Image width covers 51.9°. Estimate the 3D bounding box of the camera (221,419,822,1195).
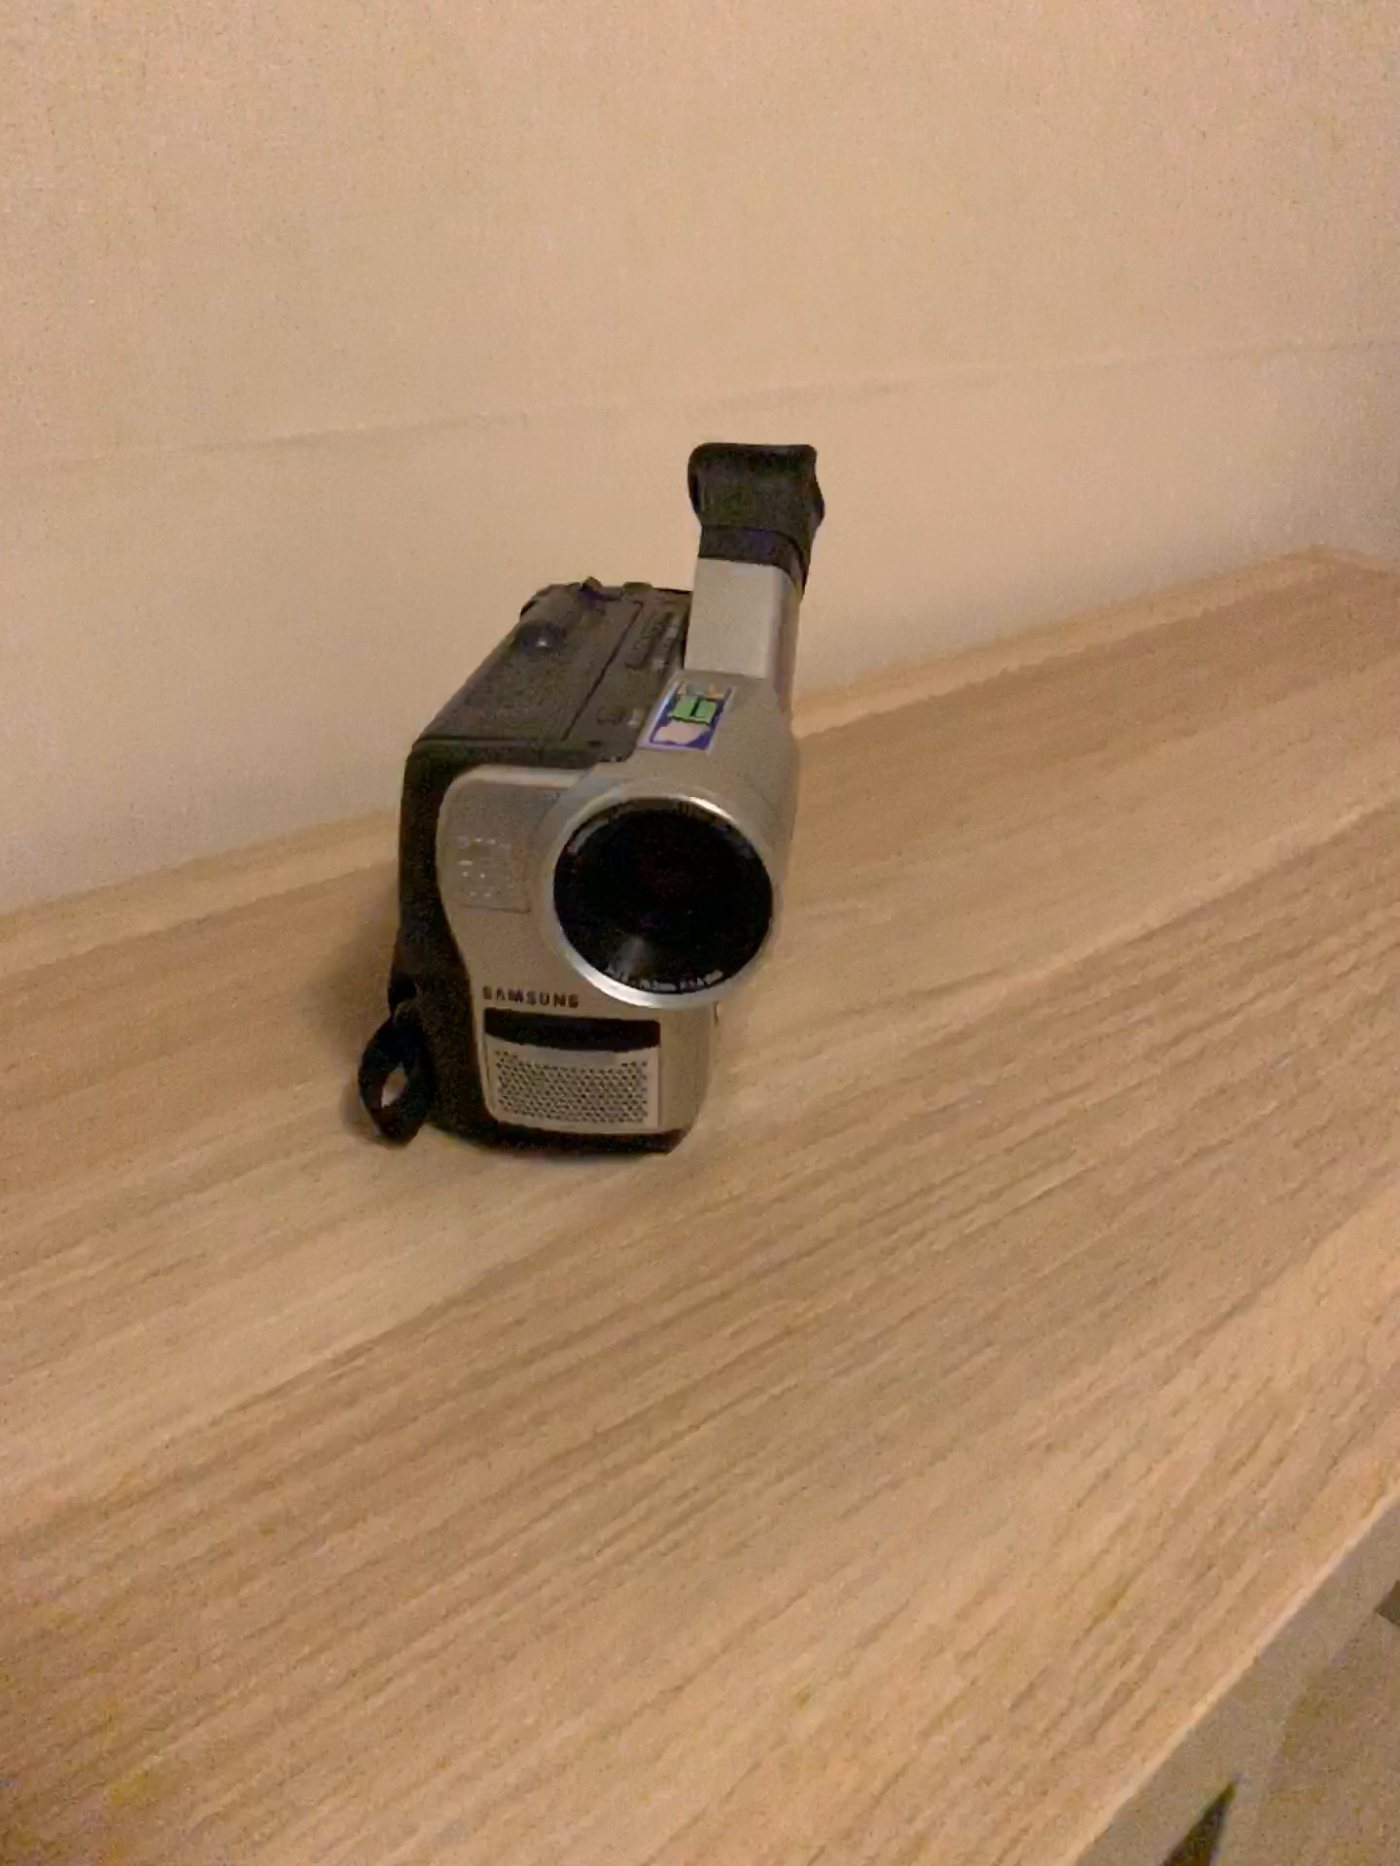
[{"bbox_3d":[-0.026,-0.049,0.367,0.106,0.133,0.193,3,25,4],"label":"camera"}]
